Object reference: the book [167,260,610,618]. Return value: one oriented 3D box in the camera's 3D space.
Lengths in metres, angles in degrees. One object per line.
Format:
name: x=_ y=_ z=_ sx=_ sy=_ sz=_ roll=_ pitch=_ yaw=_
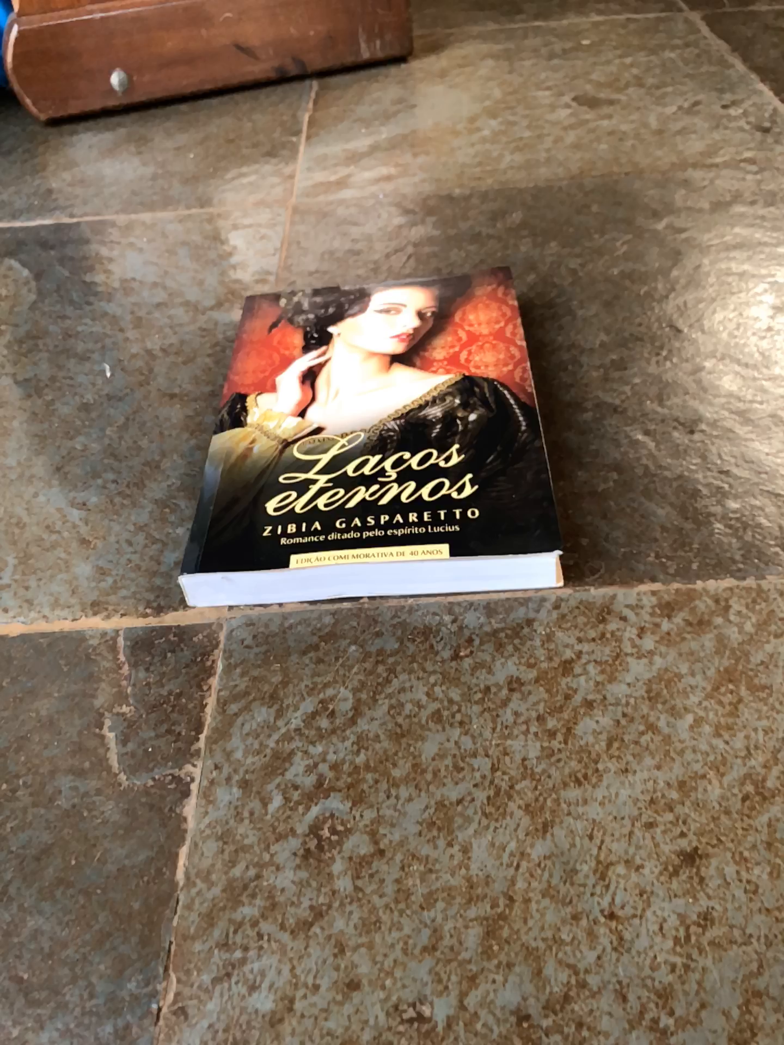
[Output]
book: x=-0.002 y=-0.050 z=0.384 sx=0.153 sy=0.026 sz=0.206 roll=-4 pitch=43 yaw=2
